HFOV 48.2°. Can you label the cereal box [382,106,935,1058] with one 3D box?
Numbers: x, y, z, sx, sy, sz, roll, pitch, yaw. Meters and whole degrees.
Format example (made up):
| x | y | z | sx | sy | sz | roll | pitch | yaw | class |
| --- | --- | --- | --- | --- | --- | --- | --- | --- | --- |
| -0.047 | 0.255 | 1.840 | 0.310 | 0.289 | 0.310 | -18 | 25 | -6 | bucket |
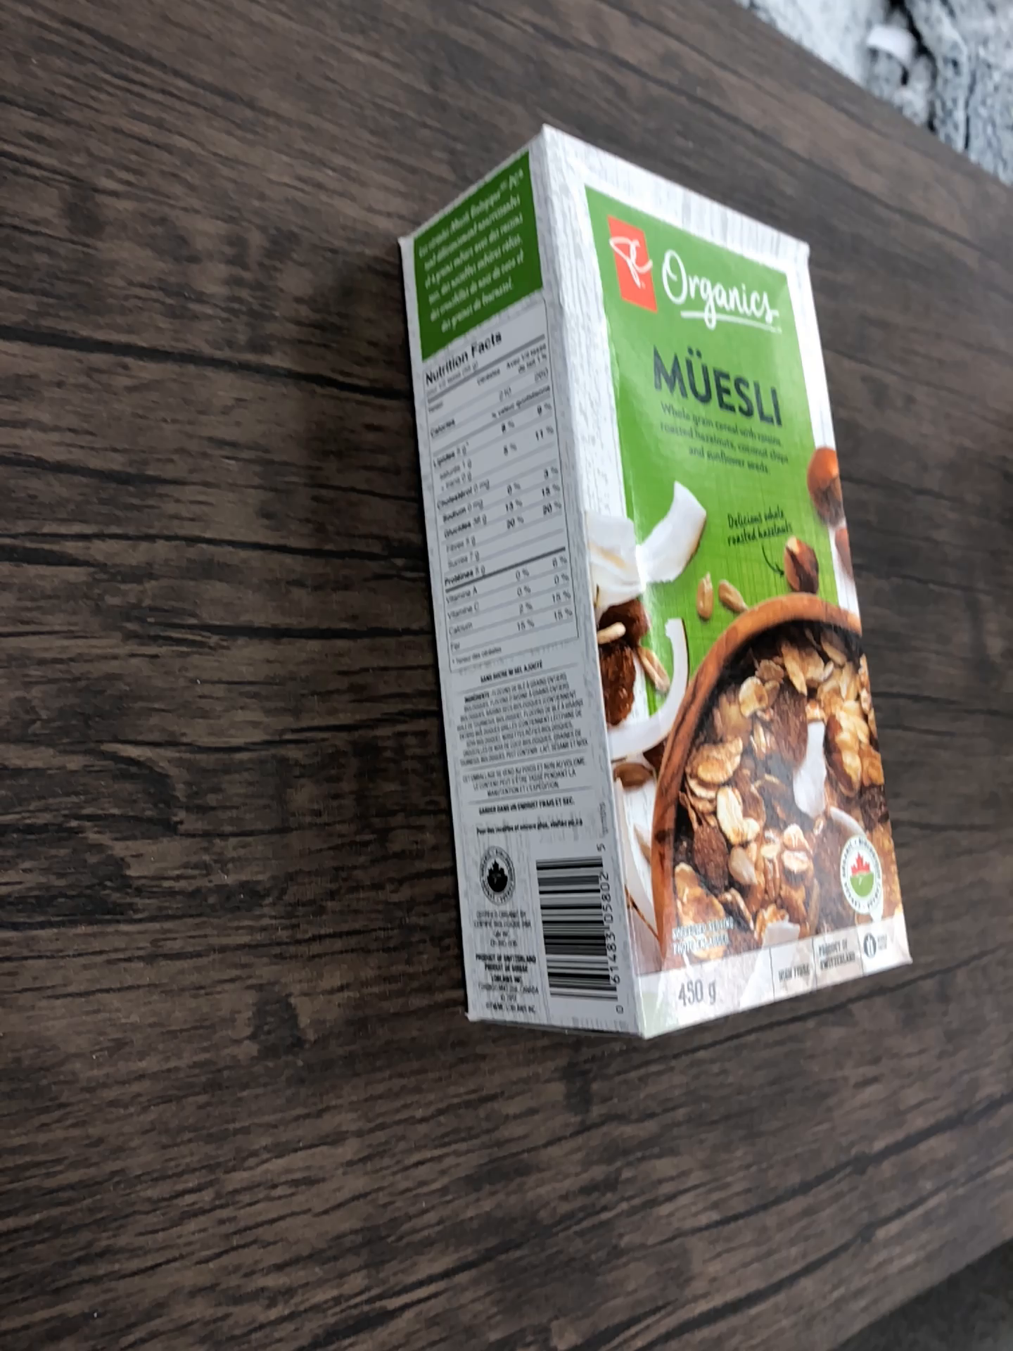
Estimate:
| x | y | z | sx | sy | sz | roll | pitch | yaw | class |
| --- | --- | --- | --- | --- | --- | --- | --- | --- | --- |
| 0.046 | -0.022 | 0.337 | 0.131 | 0.070 | 0.230 | 0 | 82 | -41 | cereal box |
